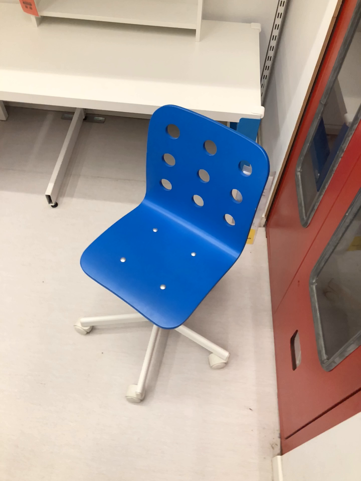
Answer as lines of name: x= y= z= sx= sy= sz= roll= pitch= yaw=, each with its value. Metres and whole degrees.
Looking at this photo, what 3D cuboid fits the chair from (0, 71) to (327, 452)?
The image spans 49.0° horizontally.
chair: x=-0.091 y=0.088 z=1.017 sx=0.551 sy=0.686 sz=0.492 roll=30 pitch=59 yaw=18
